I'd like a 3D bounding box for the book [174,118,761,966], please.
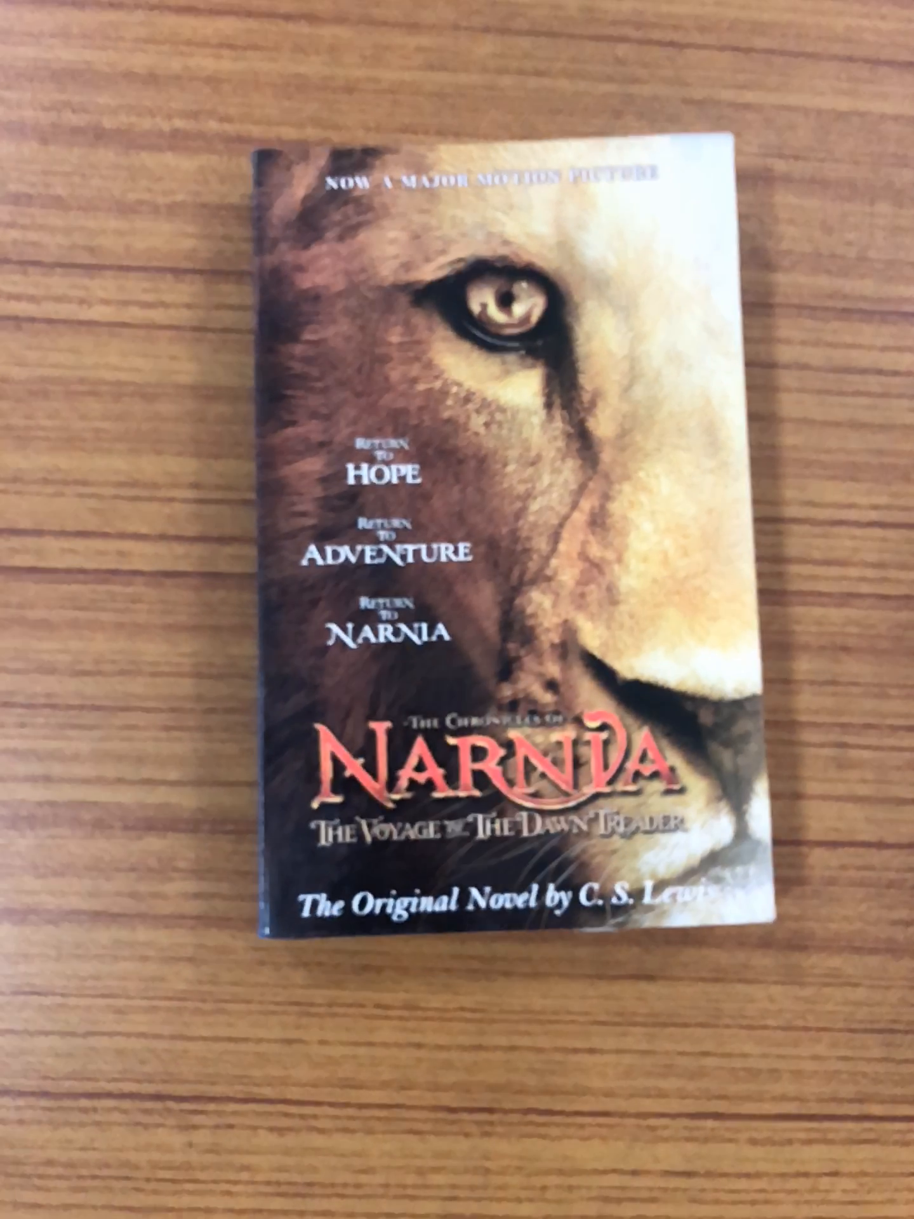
[{"bbox_3d":[0.000,-0.018,0.236,0.120,0.030,0.180,-1,84,-3],"label":"book"}]
